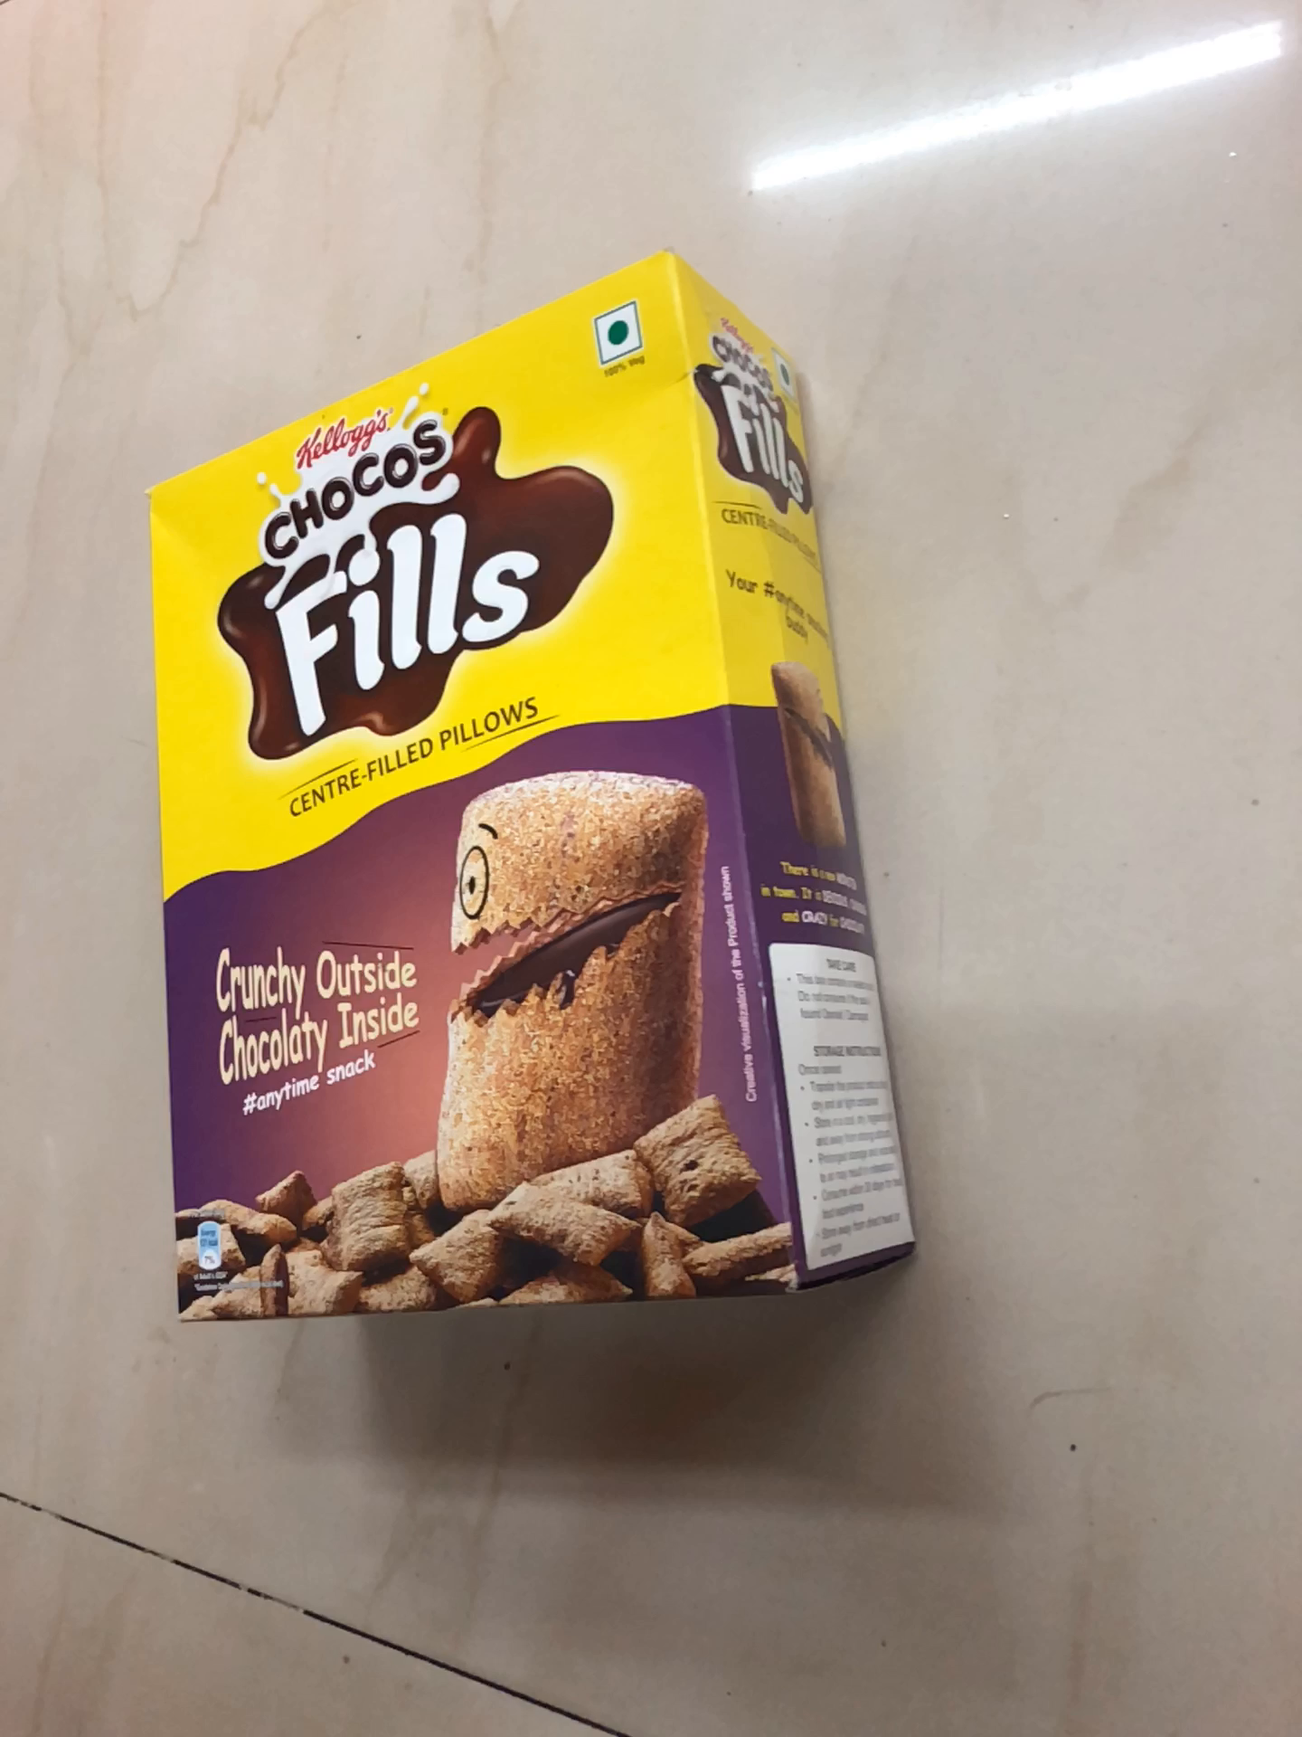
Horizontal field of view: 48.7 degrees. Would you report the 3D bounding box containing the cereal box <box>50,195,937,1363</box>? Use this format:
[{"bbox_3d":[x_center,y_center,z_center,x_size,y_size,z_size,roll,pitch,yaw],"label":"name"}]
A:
[{"bbox_3d":[-0.053,-0.007,0.357,0.200,0.070,0.230,-14,74,29],"label":"cereal box"}]
